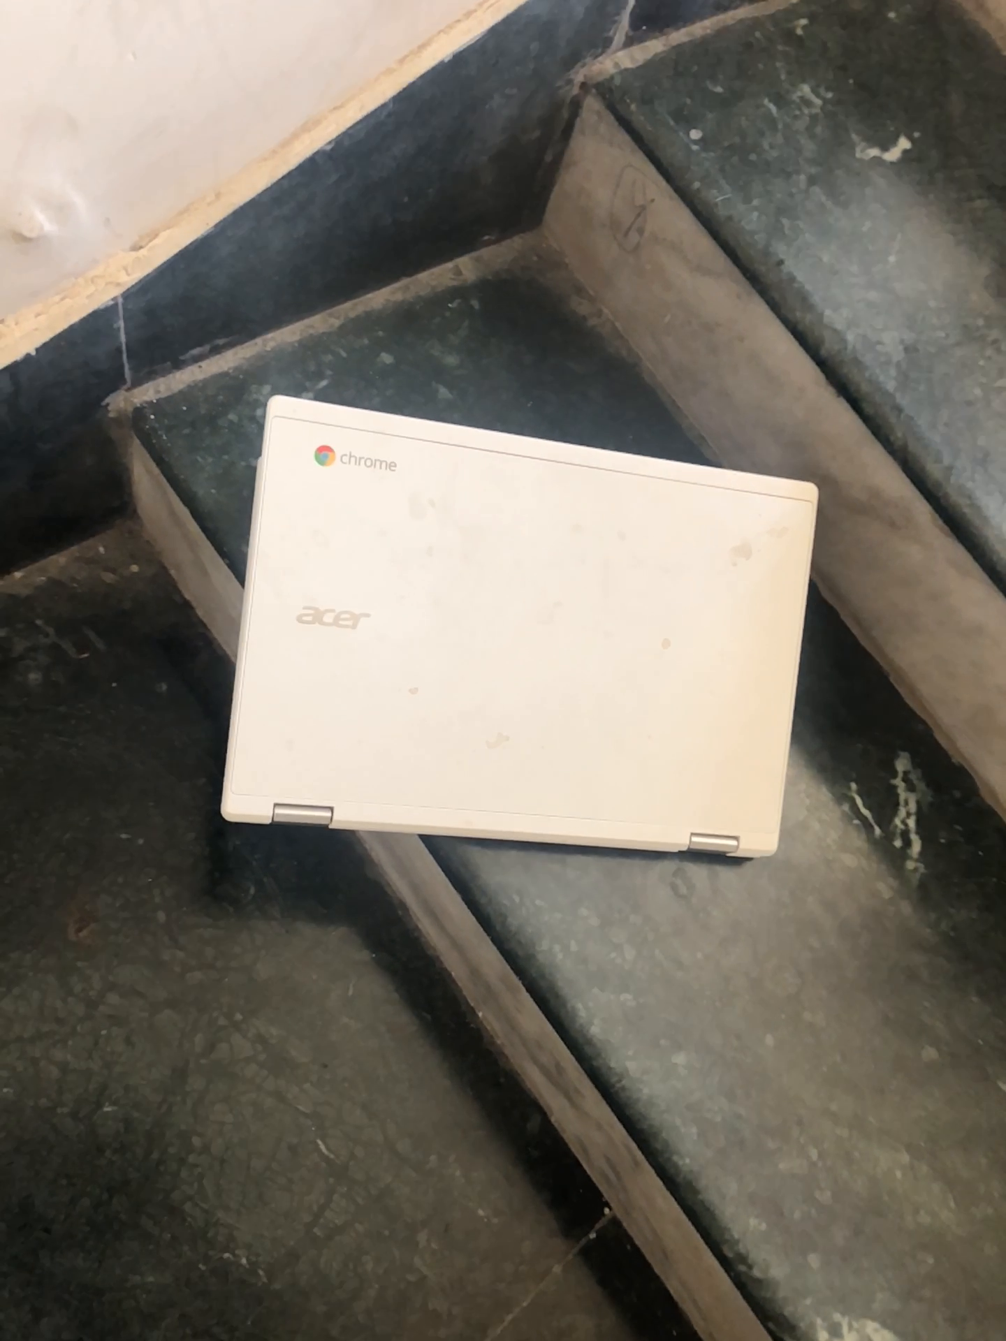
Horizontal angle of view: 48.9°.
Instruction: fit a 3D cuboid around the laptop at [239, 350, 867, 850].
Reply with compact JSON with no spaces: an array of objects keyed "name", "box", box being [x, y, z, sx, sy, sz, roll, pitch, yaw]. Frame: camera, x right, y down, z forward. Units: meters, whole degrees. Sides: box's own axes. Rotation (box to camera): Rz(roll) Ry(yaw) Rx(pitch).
[{"name":"laptop","box":[0.022,-0.024,0.552,0.282,0.091,0.190,6,71,-16]}]
